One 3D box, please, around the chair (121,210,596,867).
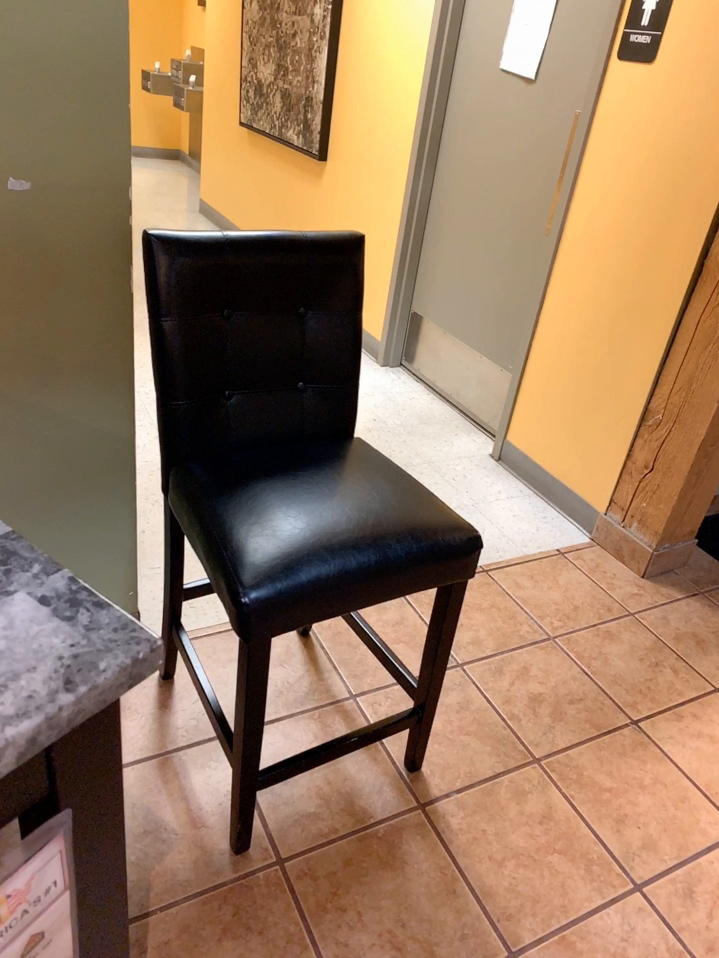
[{"bbox_3d":[-0.097,0.070,1.381,0.499,0.961,0.620,-11,36,-31],"label":"chair"}]
